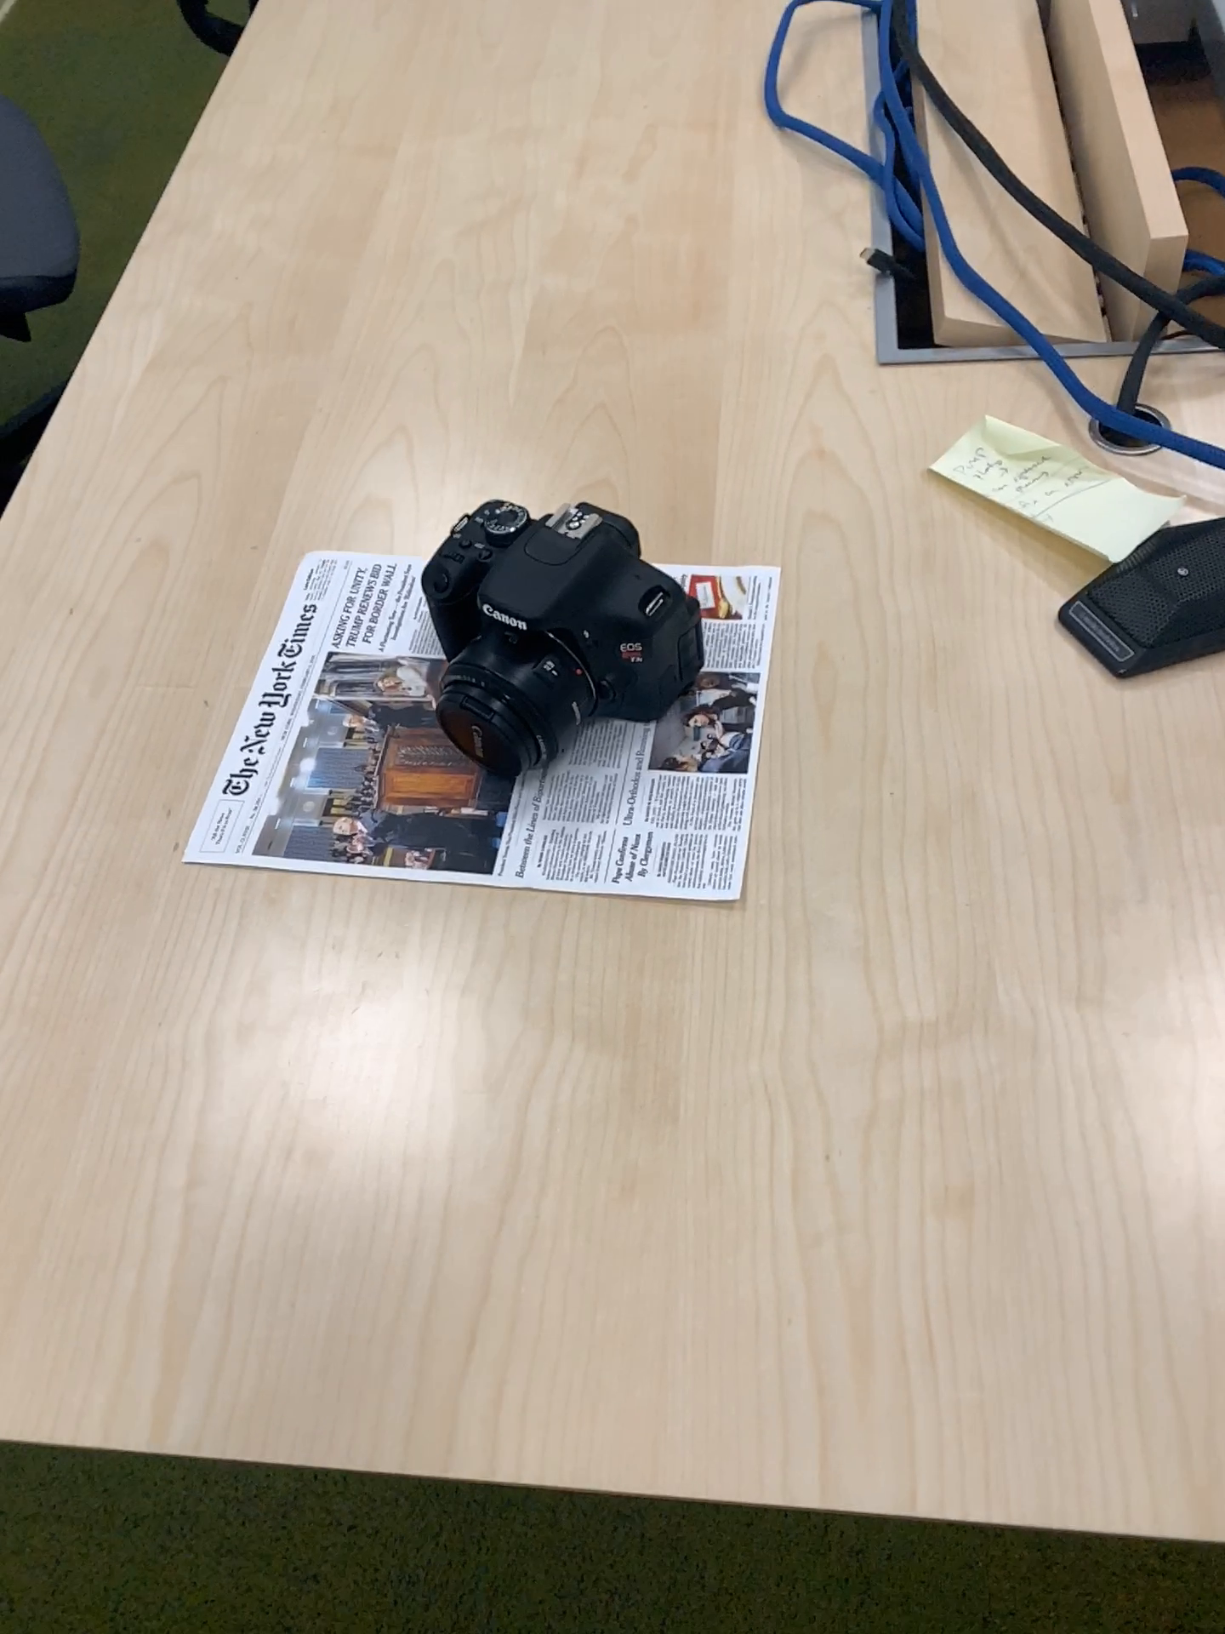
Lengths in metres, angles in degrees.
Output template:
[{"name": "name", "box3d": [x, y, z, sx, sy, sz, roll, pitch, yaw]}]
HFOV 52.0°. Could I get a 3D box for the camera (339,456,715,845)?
[{"name": "camera", "box3d": [-0.037, -0.084, 0.626, 0.125, 0.100, 0.121, 29, 64, 24]}]
